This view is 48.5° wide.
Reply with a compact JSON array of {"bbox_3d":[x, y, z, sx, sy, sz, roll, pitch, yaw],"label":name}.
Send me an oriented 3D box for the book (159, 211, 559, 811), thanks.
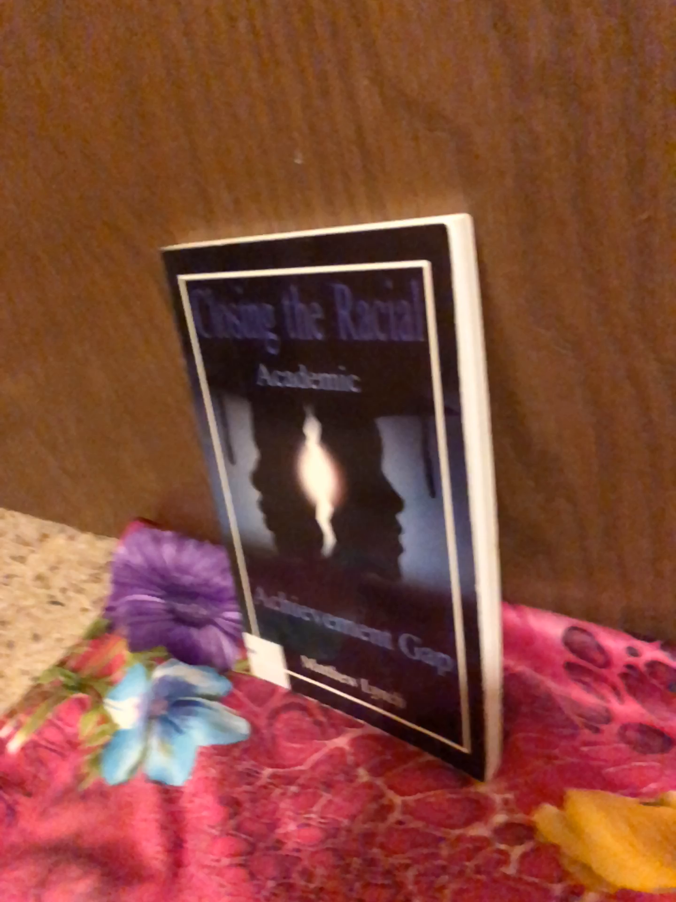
[{"bbox_3d":[0.011,0.025,0.321,0.146,0.229,0.036,8,28,39],"label":"book"}]
